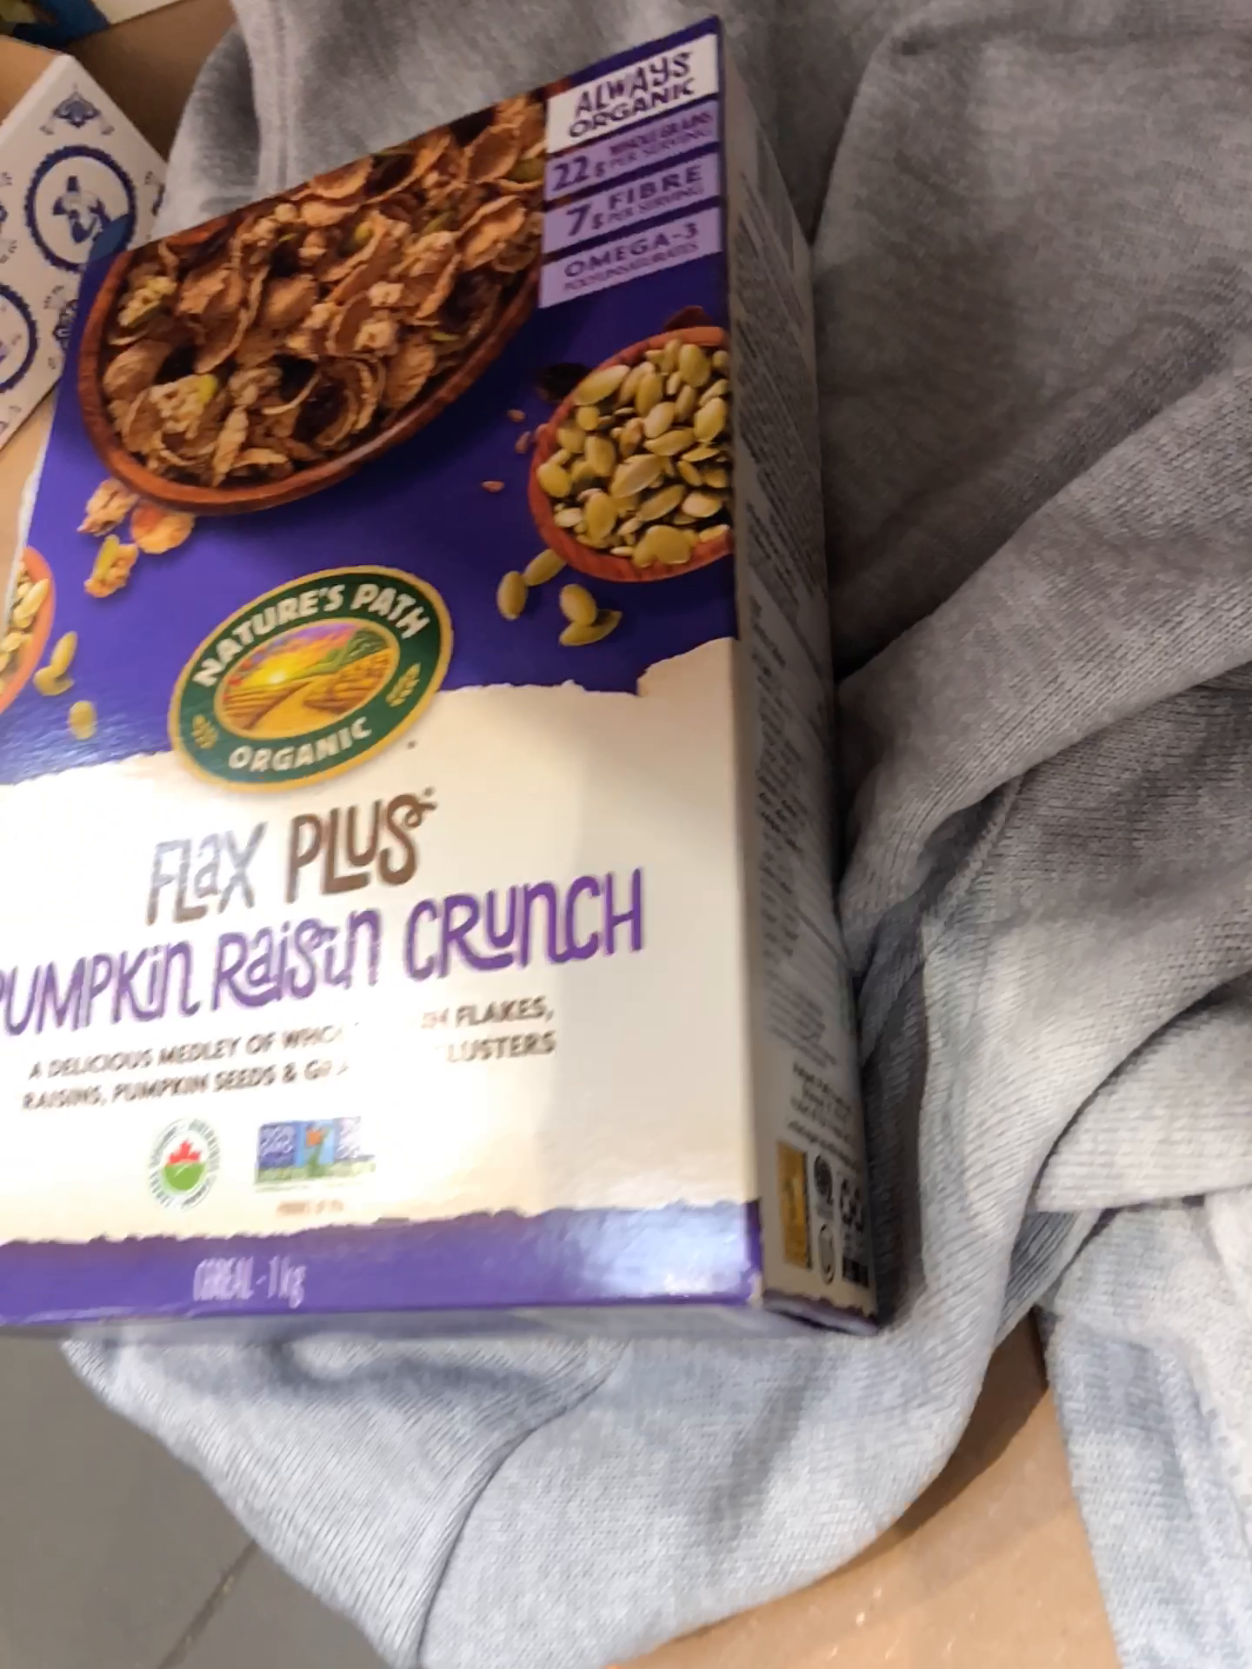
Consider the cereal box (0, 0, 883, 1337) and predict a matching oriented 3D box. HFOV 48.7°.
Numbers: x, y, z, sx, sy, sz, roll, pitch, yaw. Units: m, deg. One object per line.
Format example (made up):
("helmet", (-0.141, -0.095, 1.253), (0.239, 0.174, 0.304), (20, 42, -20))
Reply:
("cereal box", (-0.059, -0.040, 0.354), (0.211, 0.090, 0.310), (-9, 65, 21))
